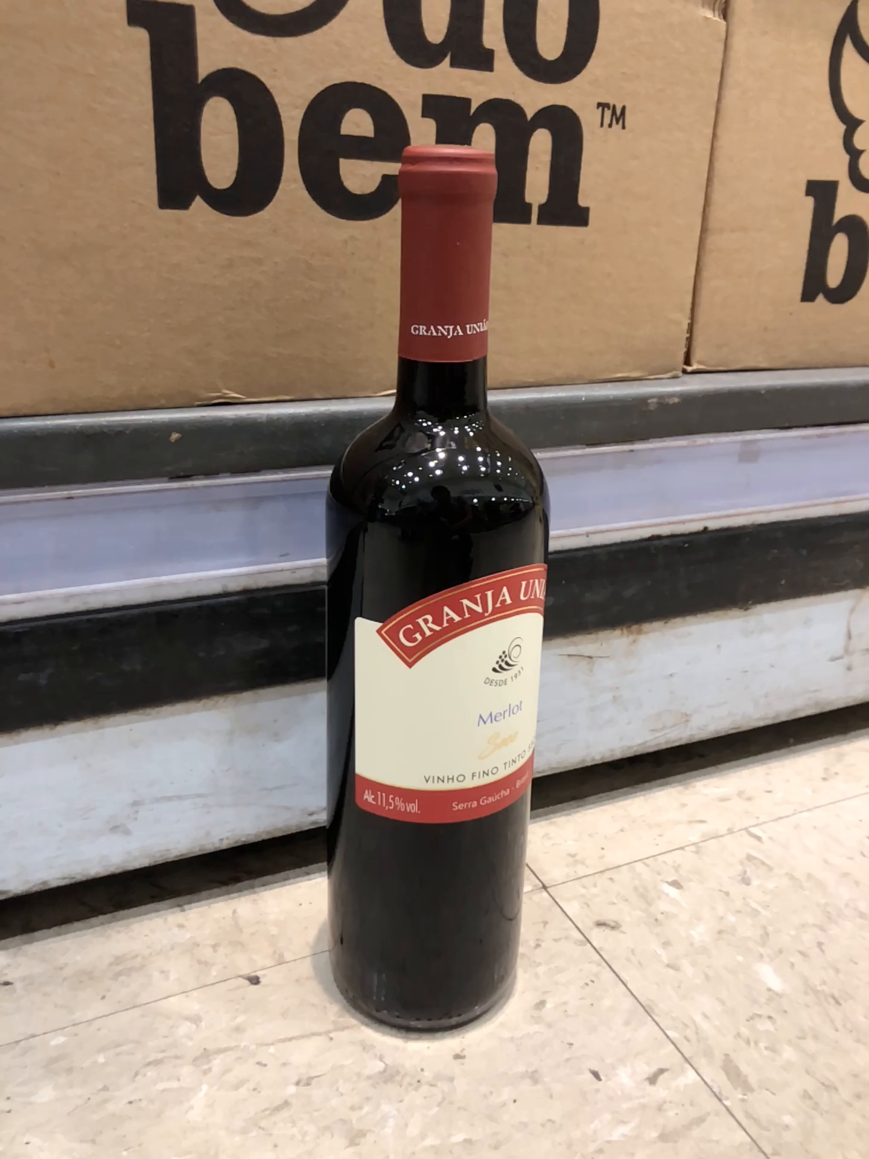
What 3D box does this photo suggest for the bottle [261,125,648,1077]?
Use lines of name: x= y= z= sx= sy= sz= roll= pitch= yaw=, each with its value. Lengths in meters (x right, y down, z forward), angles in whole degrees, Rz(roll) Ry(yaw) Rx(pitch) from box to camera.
bottle: x=0.000 y=0.012 z=0.333 sx=0.080 sy=0.298 sz=0.080 roll=2 pitch=21 yaw=-1
